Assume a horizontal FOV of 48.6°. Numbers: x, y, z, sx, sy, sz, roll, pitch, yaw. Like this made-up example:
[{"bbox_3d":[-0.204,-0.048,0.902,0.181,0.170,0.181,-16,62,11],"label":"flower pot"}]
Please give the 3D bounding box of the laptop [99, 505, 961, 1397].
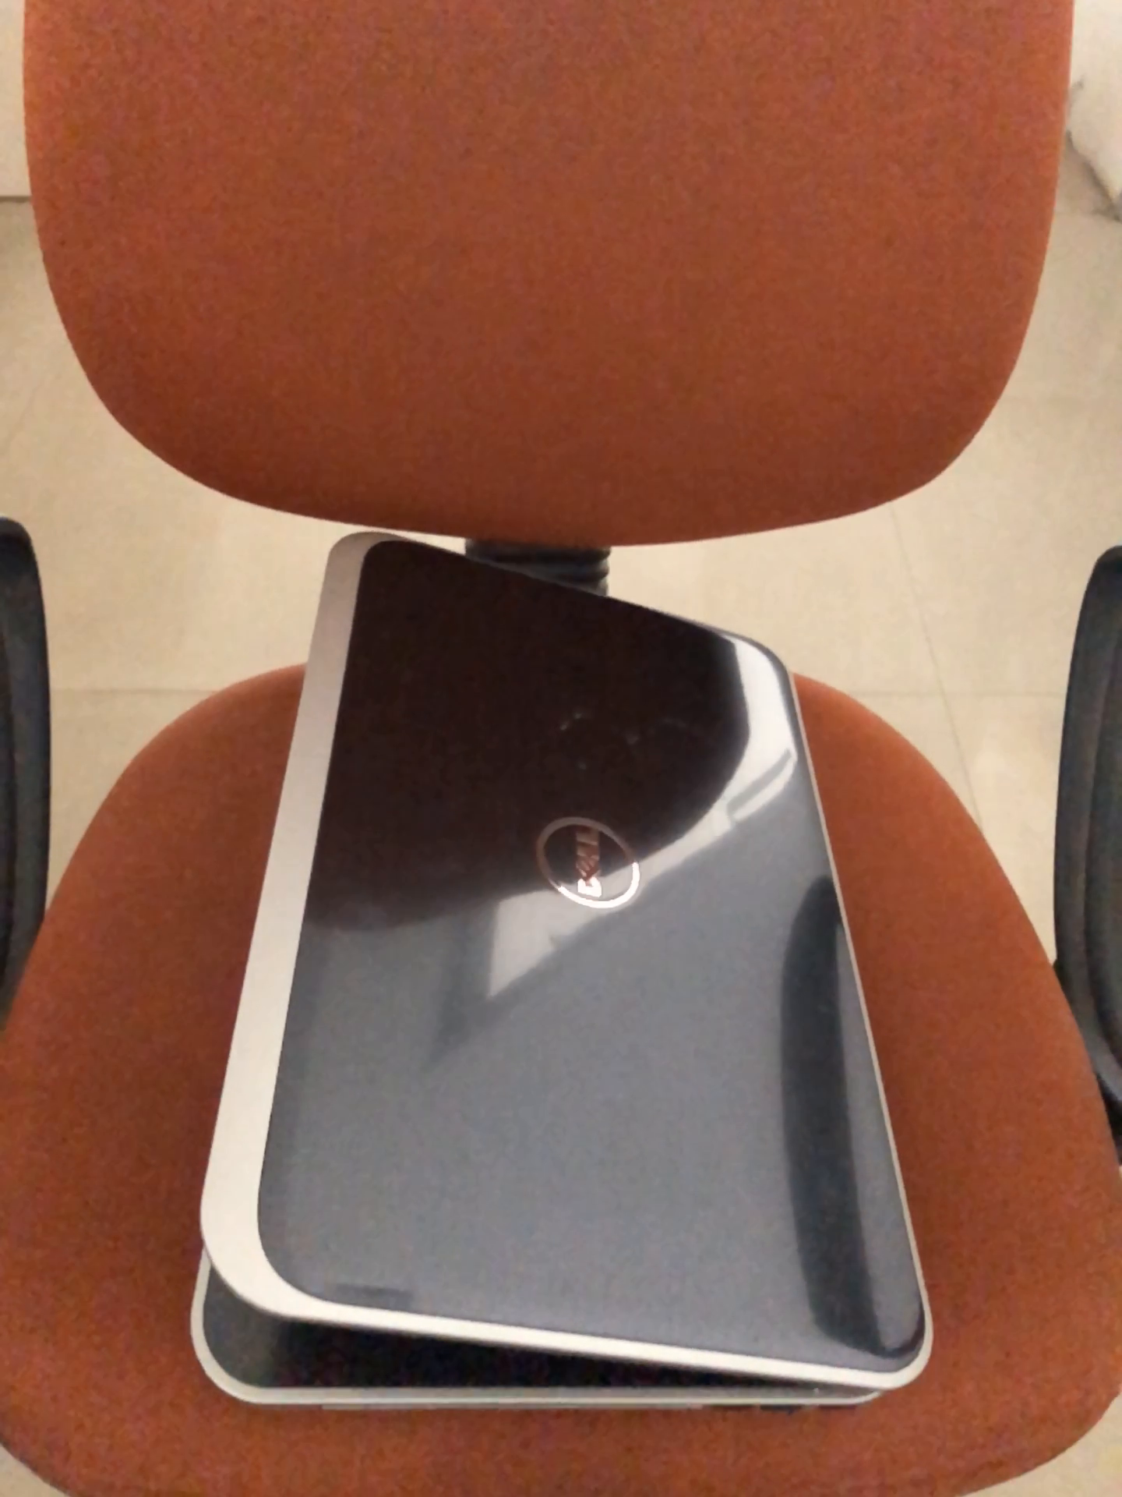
[{"bbox_3d":[-0.008,0.049,0.500,0.233,0.090,0.368,1,45,-2],"label":"laptop"}]
